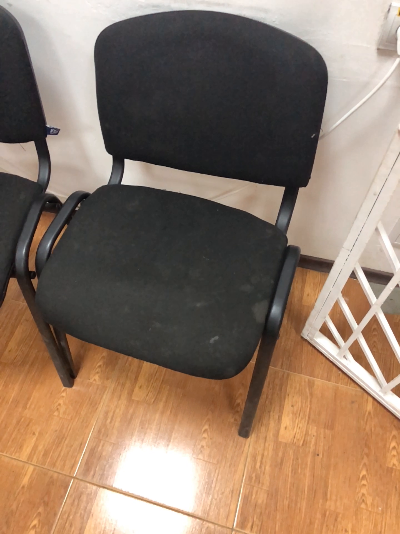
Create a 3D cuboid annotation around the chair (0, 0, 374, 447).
[{"bbox_3d":[-0.046,-0.034,0.904,0.520,0.748,0.511,13,59,10],"label":"chair"}]
